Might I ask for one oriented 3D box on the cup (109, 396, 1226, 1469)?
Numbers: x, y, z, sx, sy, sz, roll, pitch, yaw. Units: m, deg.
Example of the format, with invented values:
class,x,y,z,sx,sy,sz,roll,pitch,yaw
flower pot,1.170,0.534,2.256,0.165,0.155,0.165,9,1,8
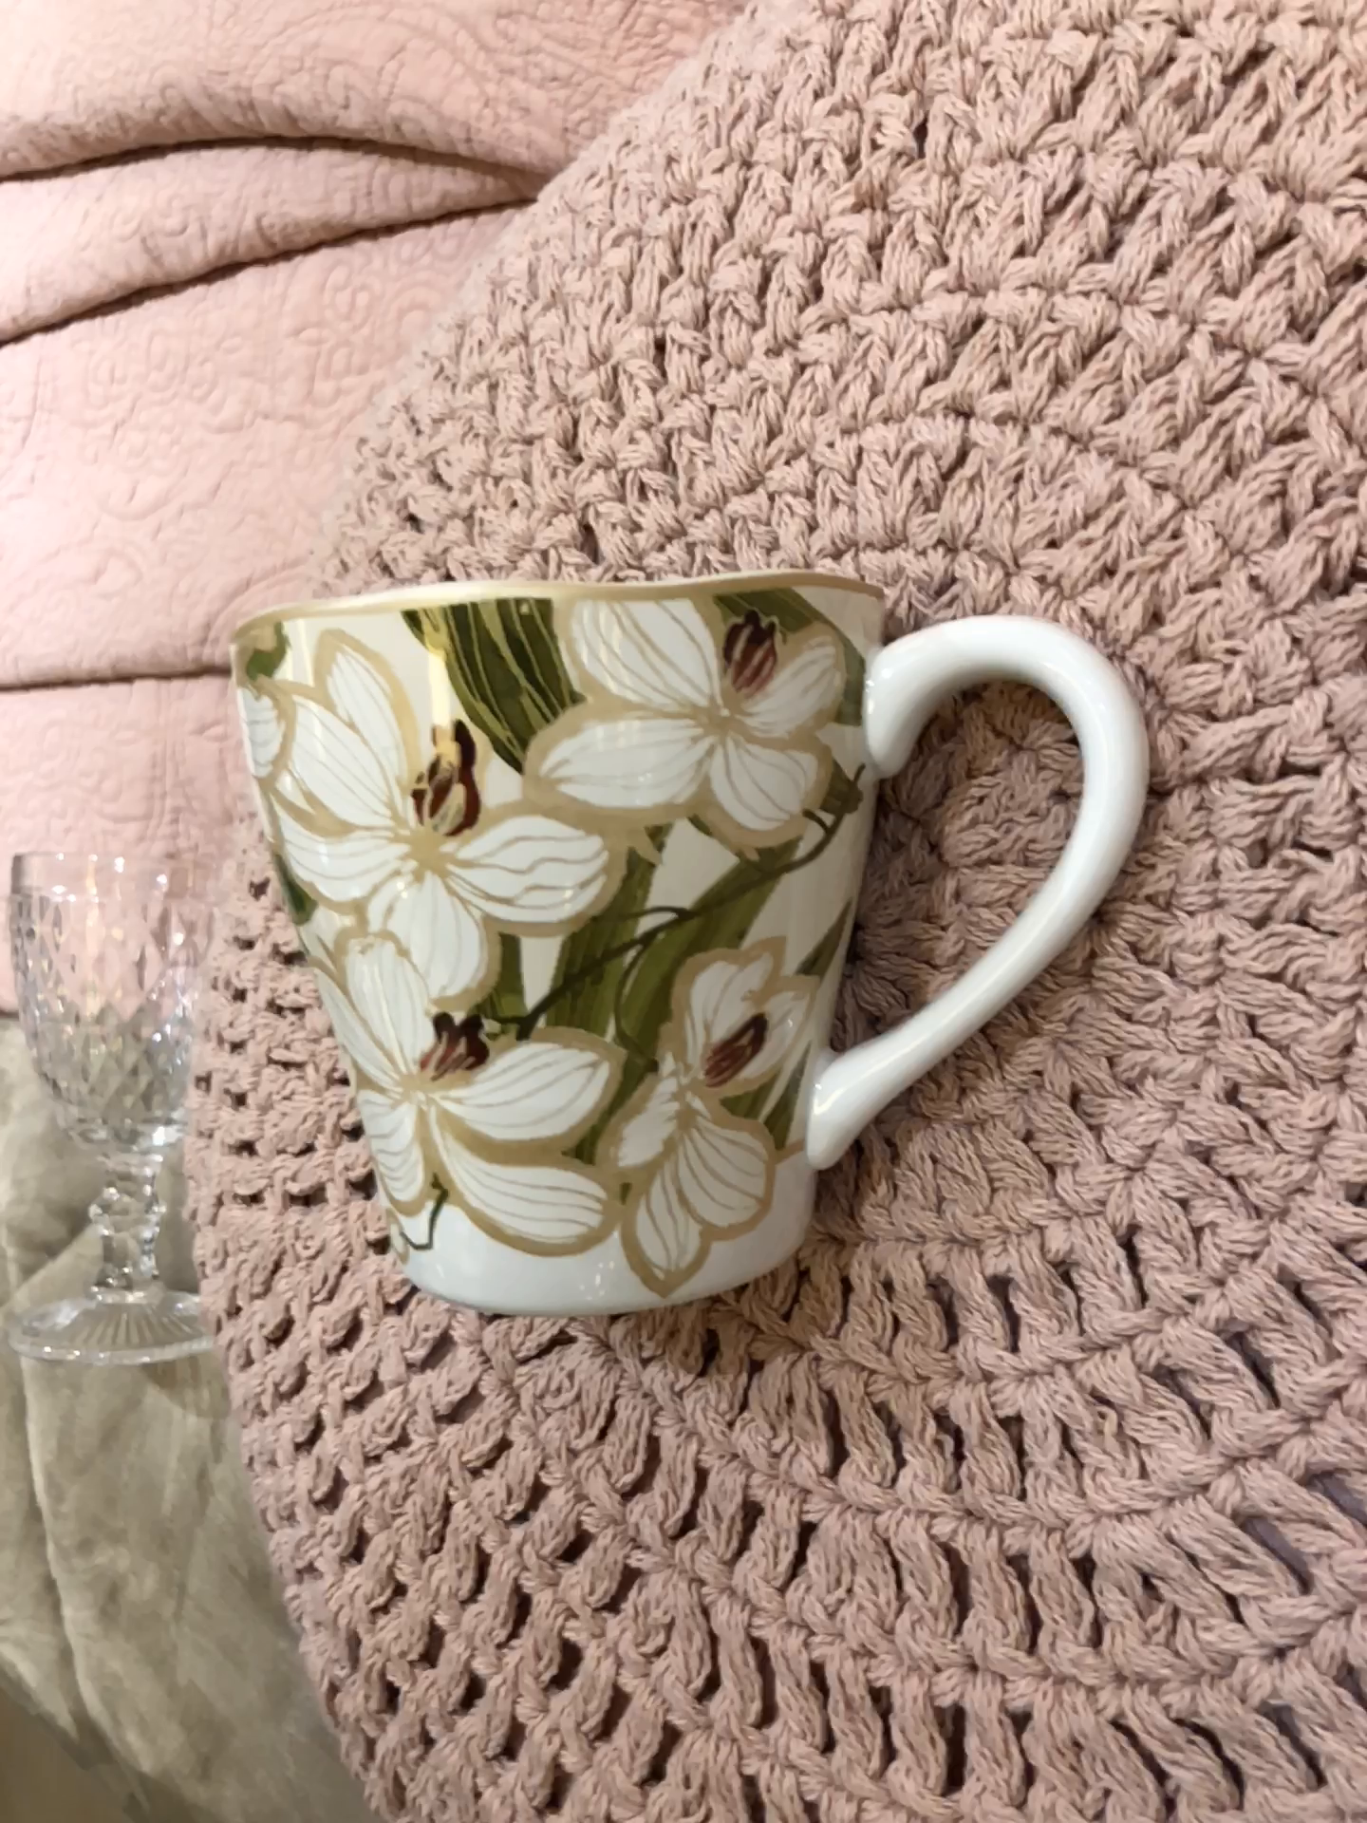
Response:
class,x,y,z,sx,sy,sz,roll,pitch,yaw
cup,0.003,0.000,0.240,0.141,0.090,0.120,-2,97,27
